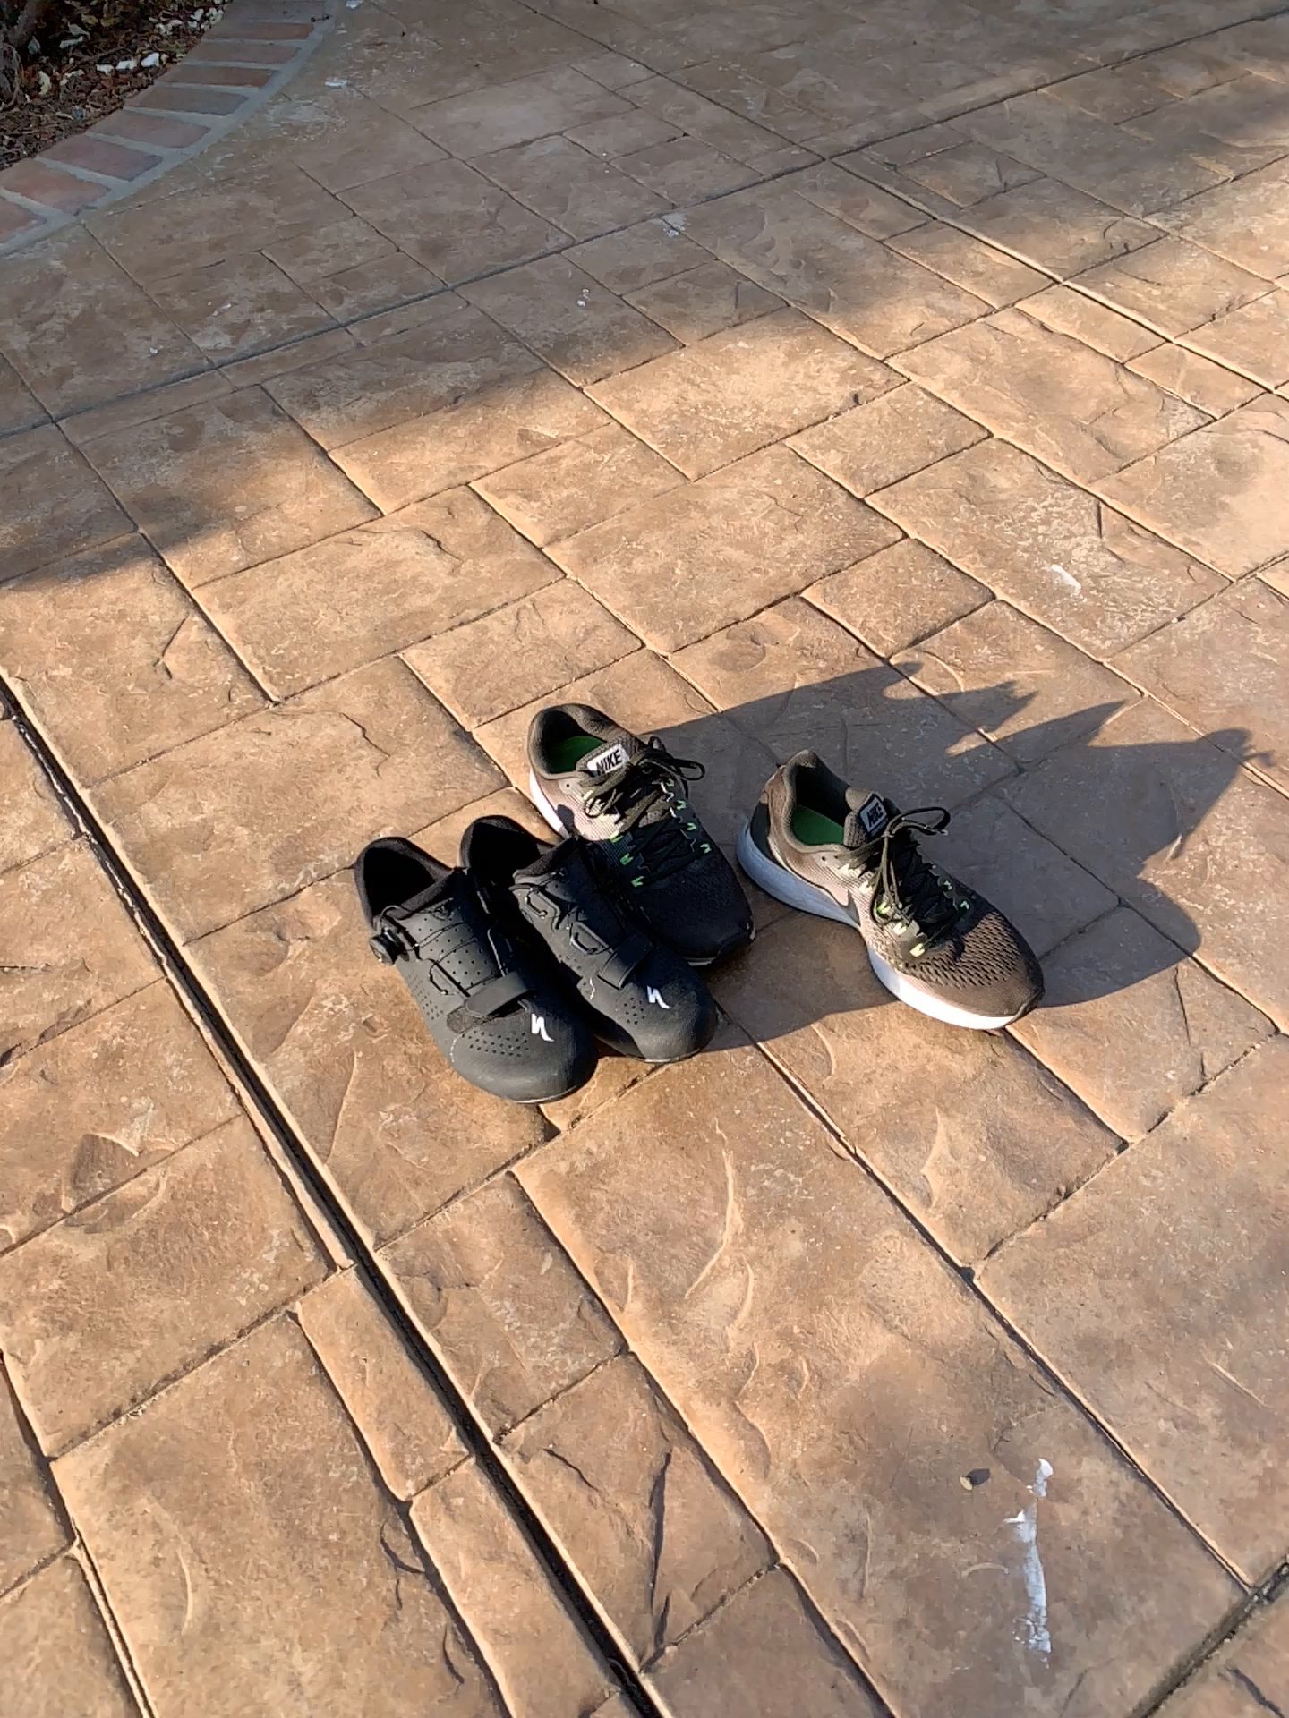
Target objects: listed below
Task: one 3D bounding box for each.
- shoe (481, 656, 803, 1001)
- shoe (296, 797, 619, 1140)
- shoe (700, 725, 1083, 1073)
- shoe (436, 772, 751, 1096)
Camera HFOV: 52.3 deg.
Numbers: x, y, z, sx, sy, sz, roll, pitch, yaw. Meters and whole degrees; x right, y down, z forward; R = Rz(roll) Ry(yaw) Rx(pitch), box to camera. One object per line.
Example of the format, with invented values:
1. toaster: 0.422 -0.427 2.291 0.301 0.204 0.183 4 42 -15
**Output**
1. shoe: -0.008 -0.032 1.032 0.100 0.090 0.281 -30 54 -21
2. shoe: -0.141 0.073 0.973 0.100 0.070 0.261 -33 56 -23
3. shoe: 0.185 0.022 1.043 0.120 0.070 0.291 -33 56 -23
4. shoe: -0.039 0.047 0.945 0.100 0.070 0.231 -33 56 -23
